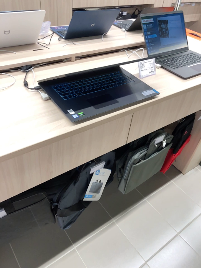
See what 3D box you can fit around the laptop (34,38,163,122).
[{"bbox_3d":[-0.008,-0.230,0.836,0.390,0.129,0.271,-21,48,-30],"label":"laptop"}]
